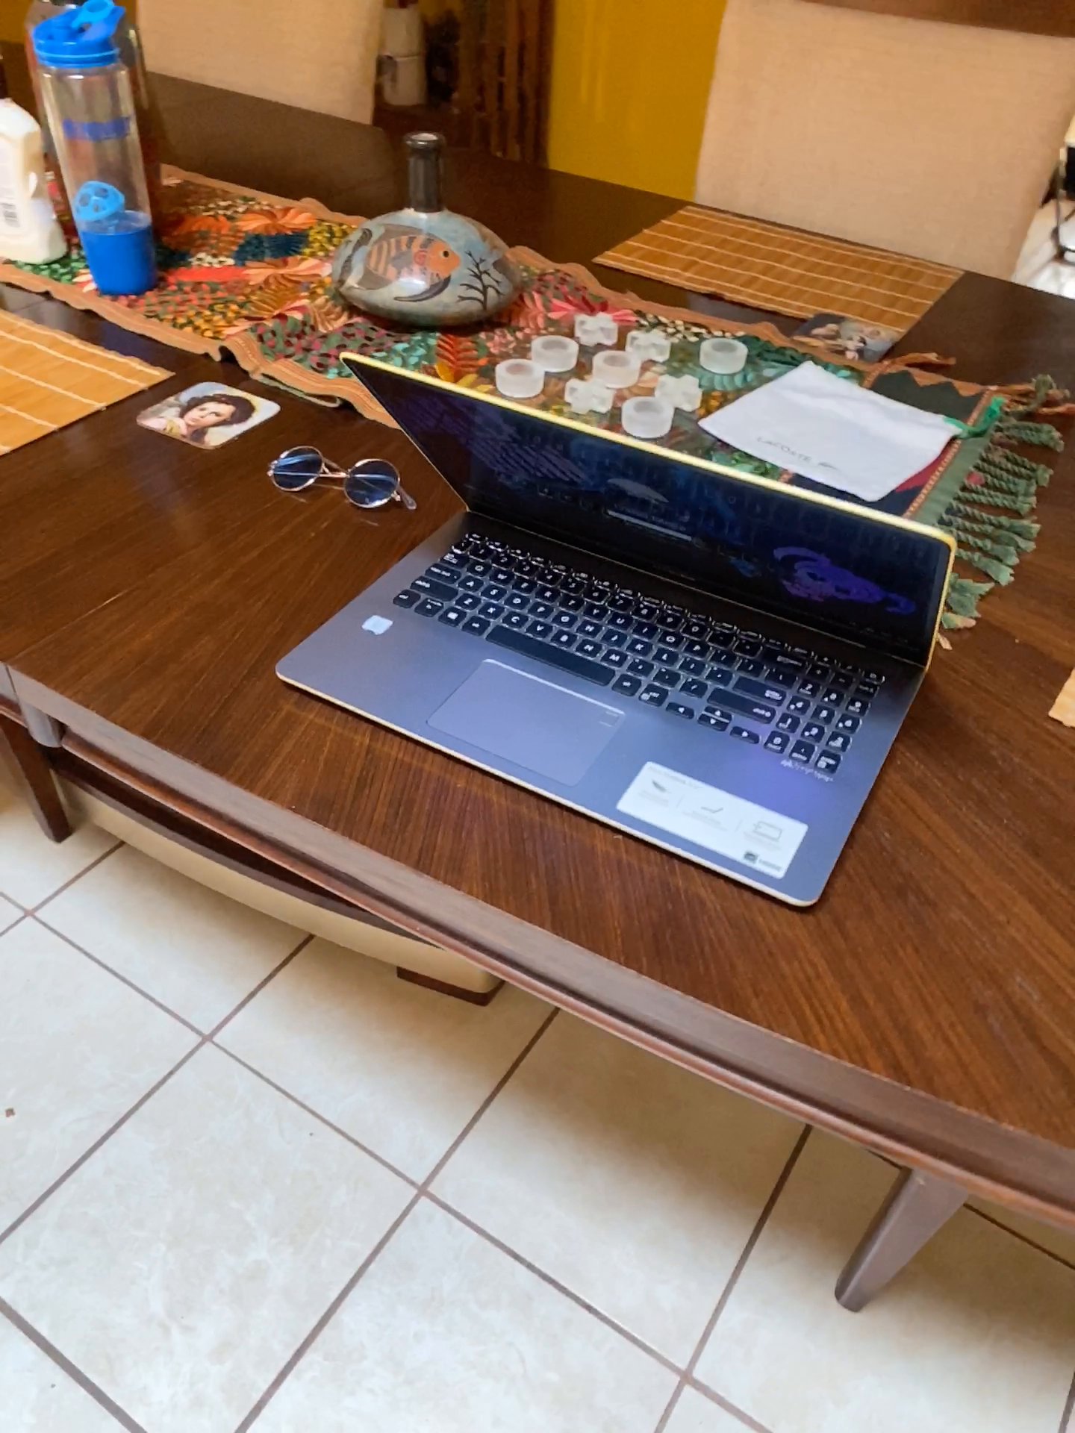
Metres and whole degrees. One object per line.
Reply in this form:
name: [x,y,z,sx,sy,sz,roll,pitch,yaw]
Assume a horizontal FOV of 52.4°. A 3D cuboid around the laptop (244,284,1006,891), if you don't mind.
laptop: [0.055,-0.107,0.703,0.377,0.181,0.251,22,45,19]
